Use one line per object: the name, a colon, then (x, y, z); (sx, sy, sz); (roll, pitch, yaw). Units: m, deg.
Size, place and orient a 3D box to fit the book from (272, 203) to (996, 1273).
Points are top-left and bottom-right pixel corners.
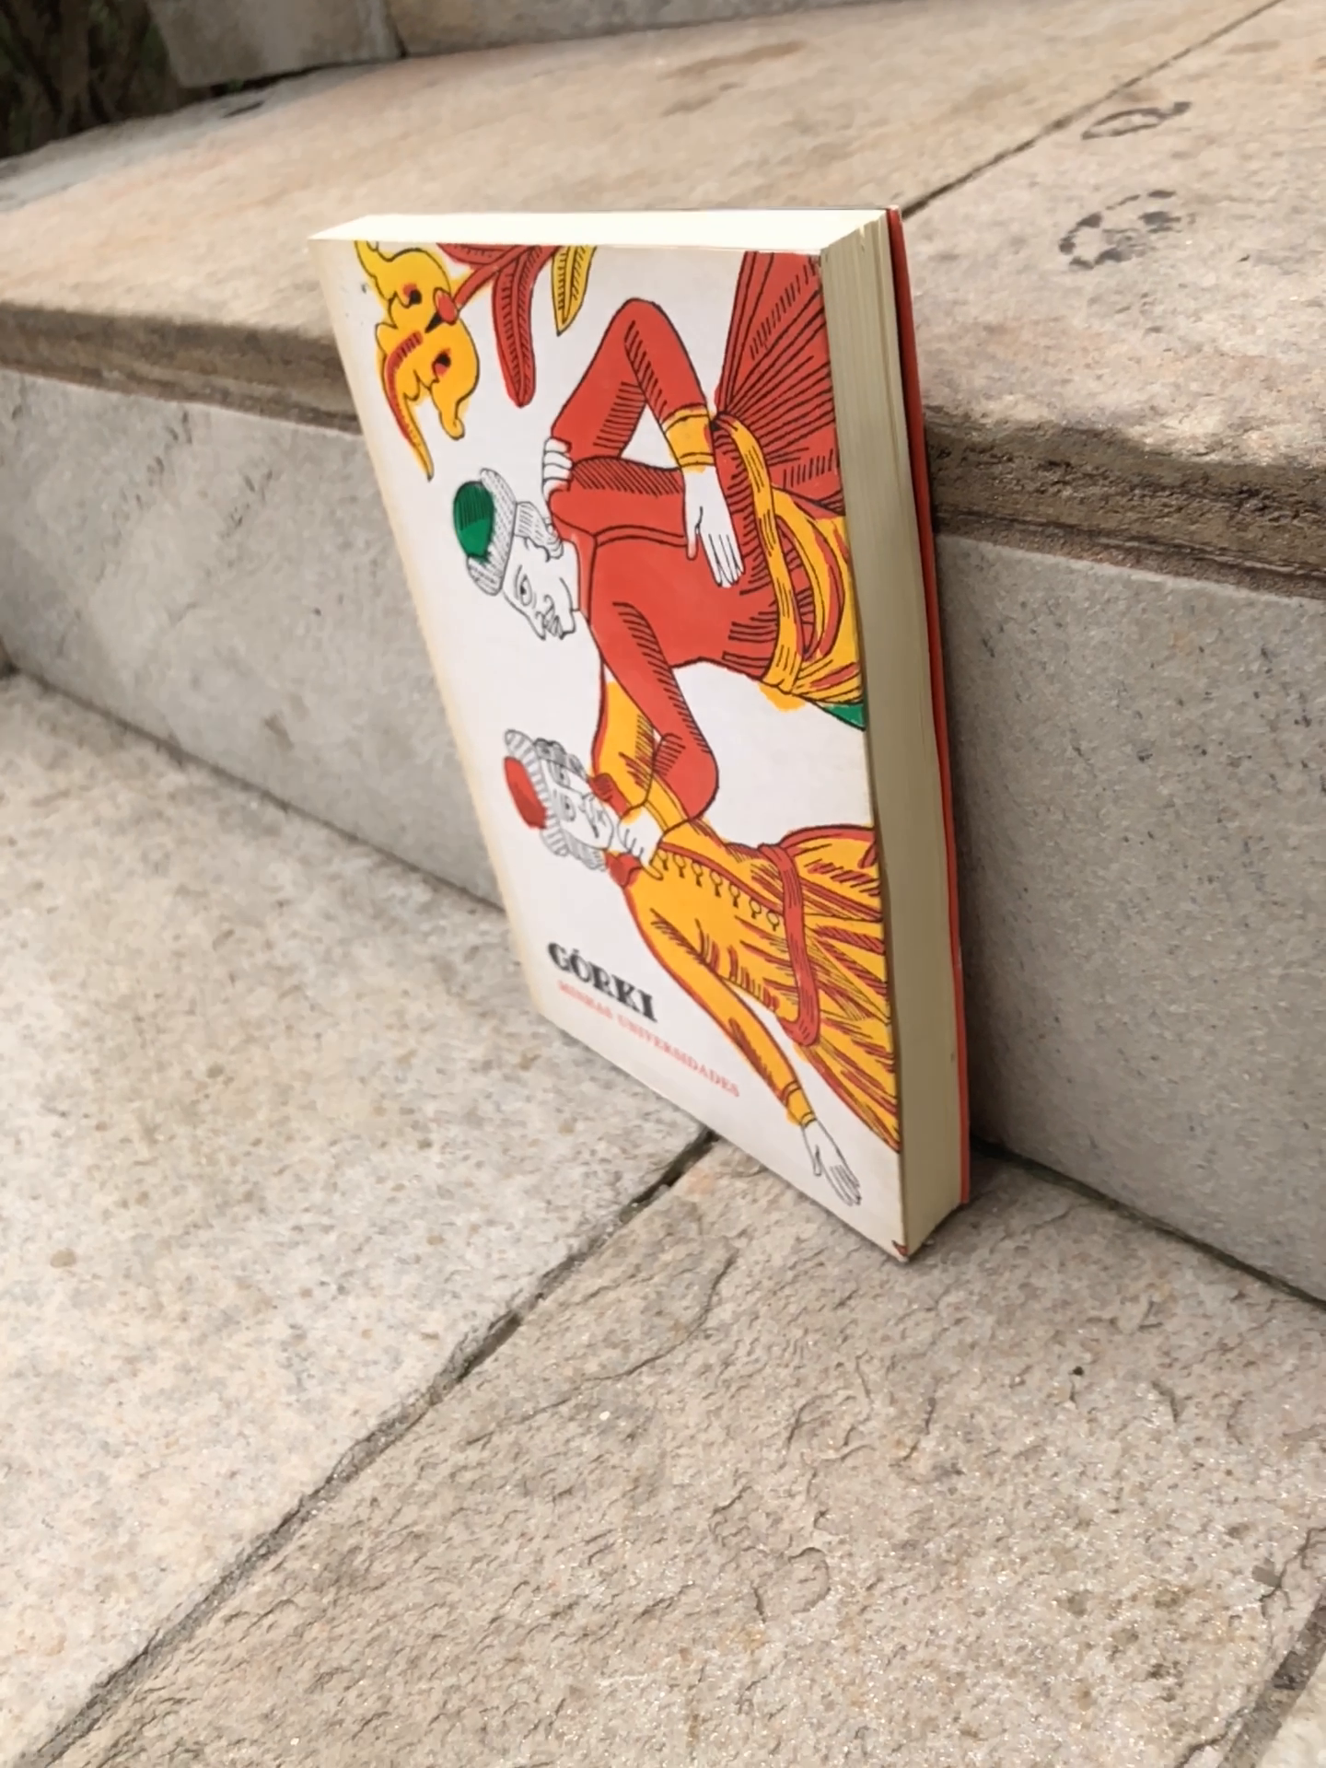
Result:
book: (-0.004, -0.032, 0.299); (0.030, 0.189, 0.142); (-31, 38, -28)
